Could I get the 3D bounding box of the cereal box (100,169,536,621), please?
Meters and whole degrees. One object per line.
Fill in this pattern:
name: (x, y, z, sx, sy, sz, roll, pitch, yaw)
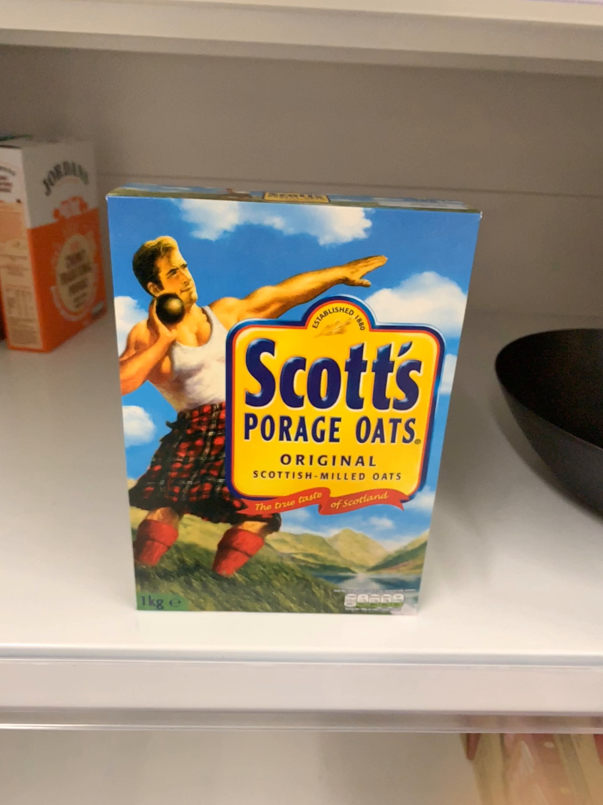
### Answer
cereal box: (0.002, 0.006, 0.390, 0.210, 0.268, 0.071, 2, 25, -2)
